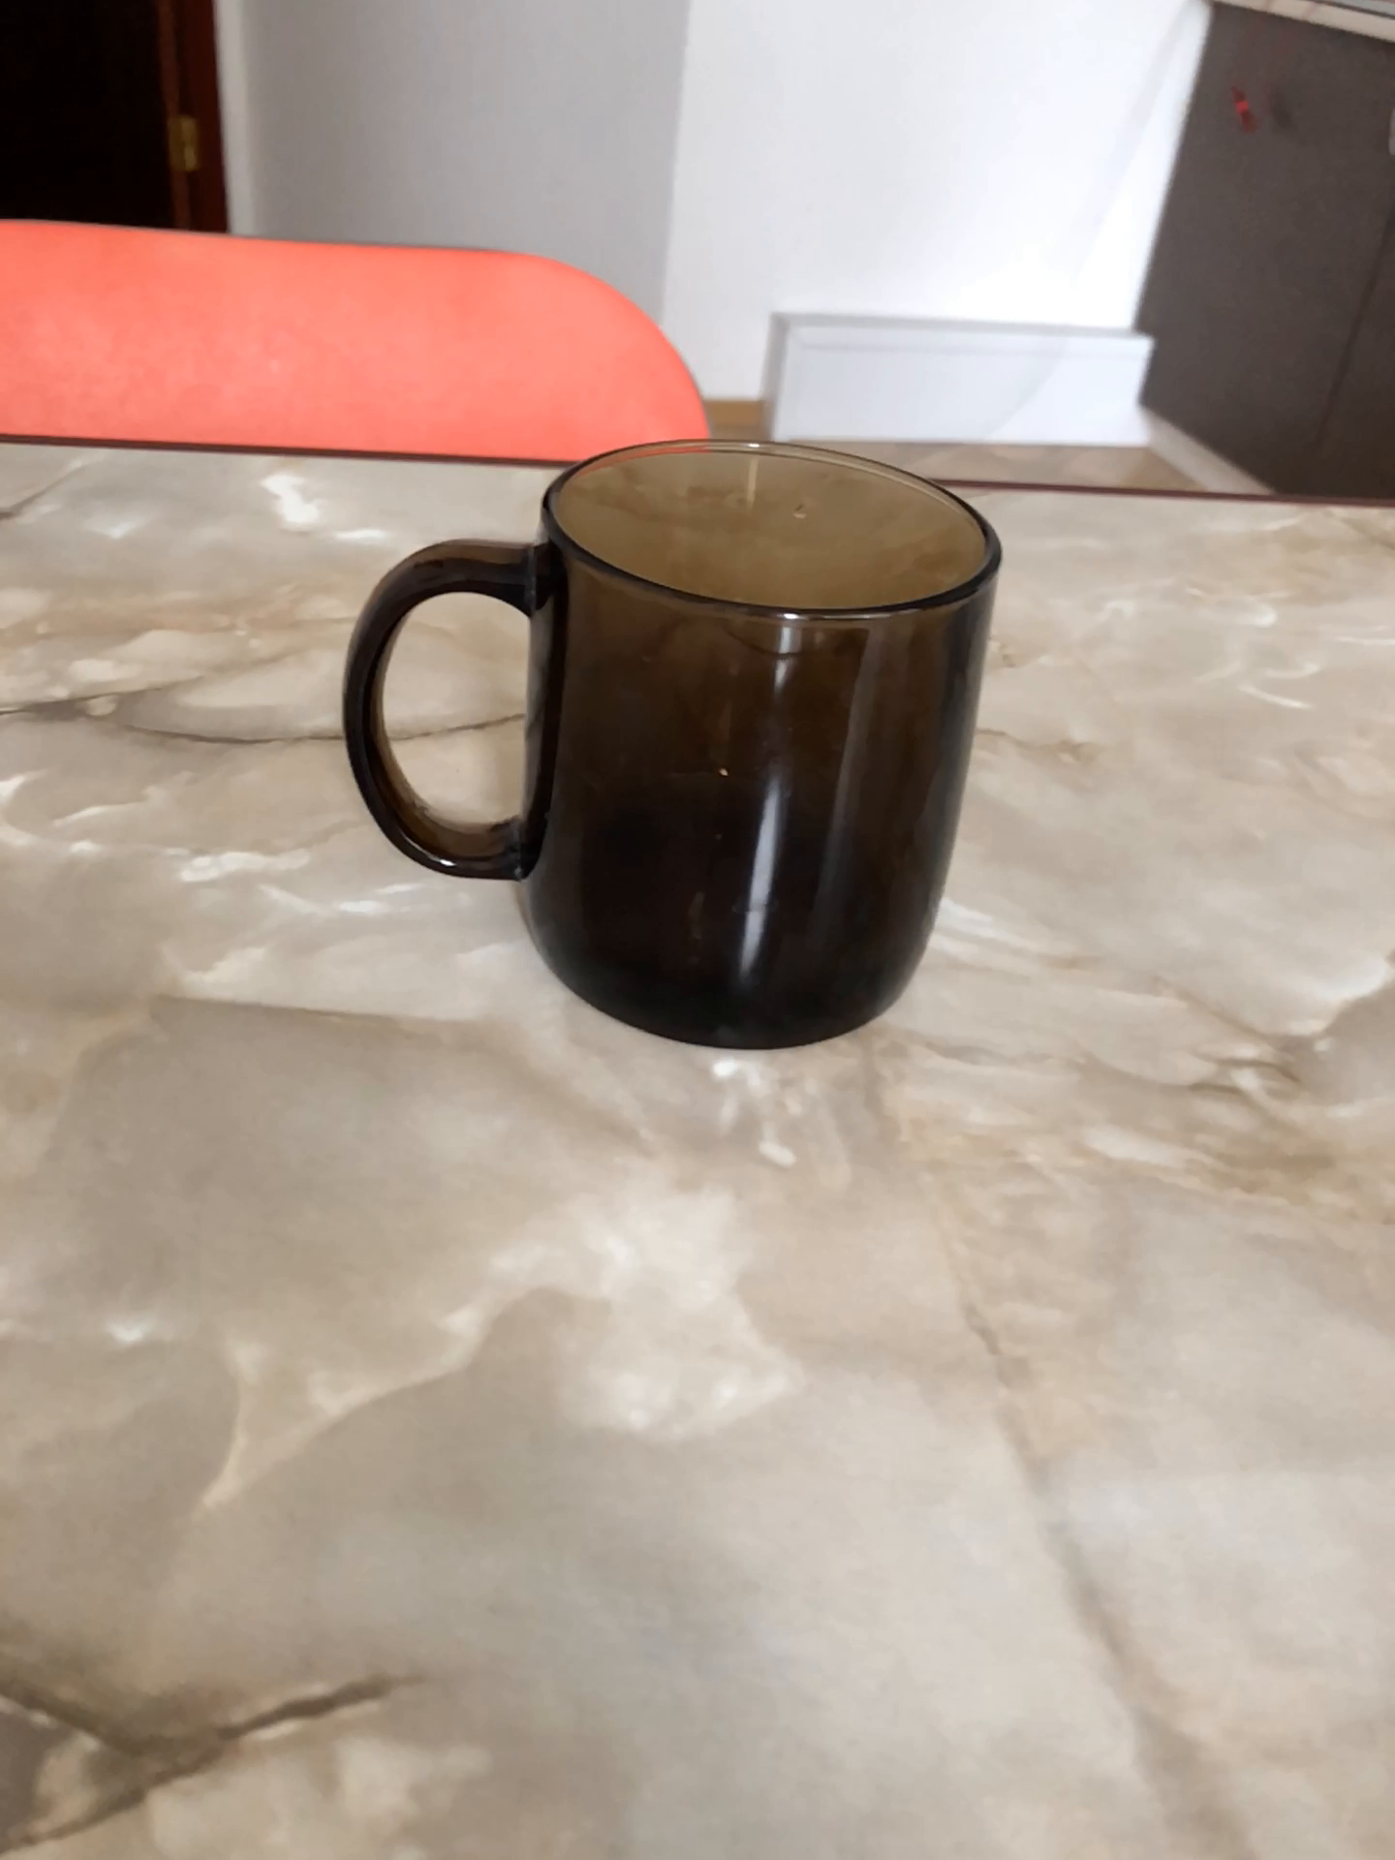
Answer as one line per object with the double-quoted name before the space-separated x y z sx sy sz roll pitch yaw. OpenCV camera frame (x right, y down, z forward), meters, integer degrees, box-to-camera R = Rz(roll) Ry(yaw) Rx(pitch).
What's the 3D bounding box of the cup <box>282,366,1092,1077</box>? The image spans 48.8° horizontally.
"cup" -0.003 -0.042 0.294 0.122 0.090 0.091 6 35 -1
